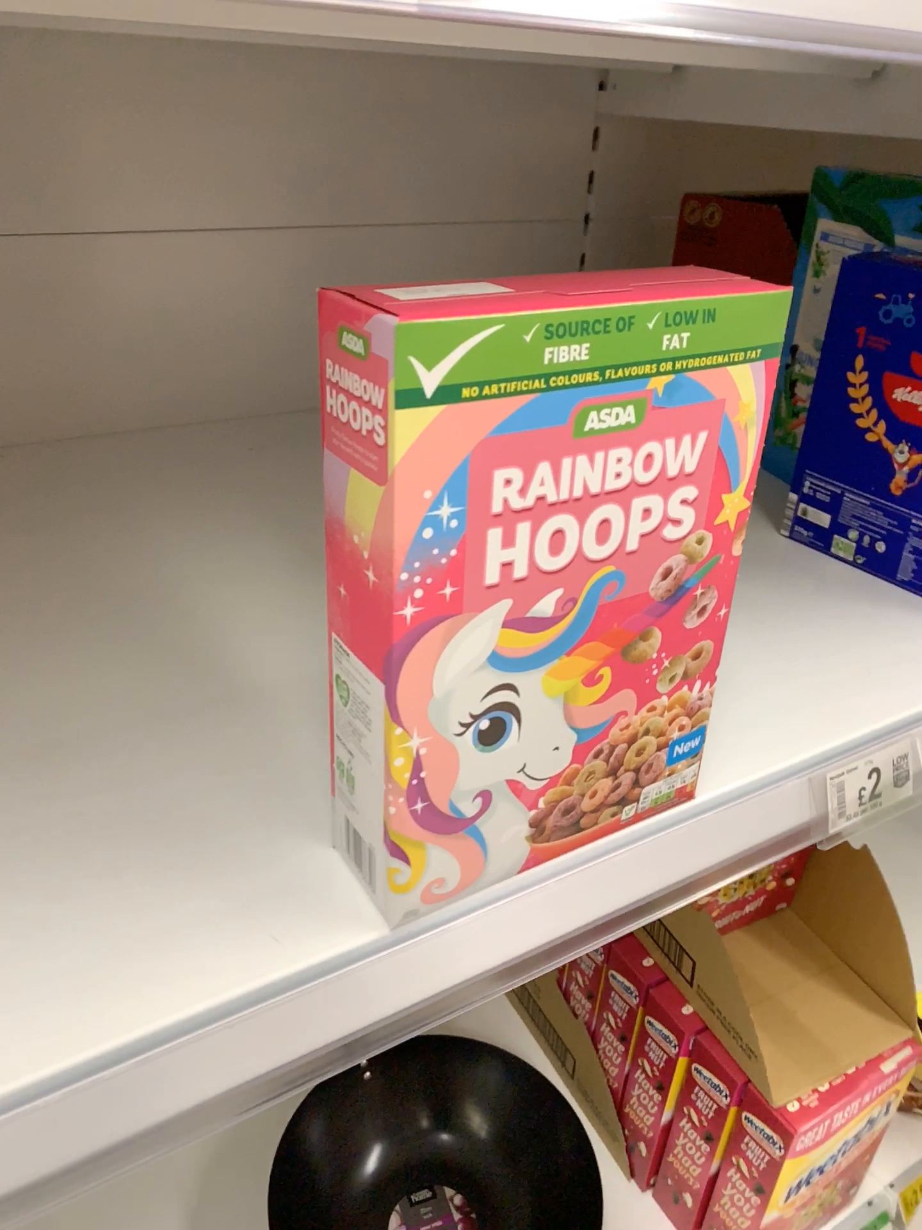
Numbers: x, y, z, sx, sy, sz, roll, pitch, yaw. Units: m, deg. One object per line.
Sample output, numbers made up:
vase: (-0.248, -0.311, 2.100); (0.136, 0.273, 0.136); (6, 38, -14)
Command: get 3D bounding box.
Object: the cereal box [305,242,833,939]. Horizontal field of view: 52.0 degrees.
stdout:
cereal box: (0.042, -0.014, 0.429); (0.211, 0.277, 0.060); (-14, 33, -29)
